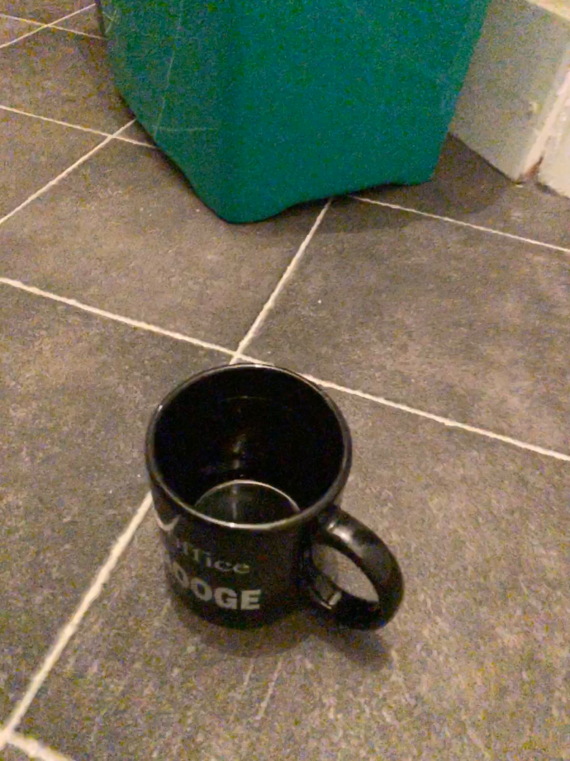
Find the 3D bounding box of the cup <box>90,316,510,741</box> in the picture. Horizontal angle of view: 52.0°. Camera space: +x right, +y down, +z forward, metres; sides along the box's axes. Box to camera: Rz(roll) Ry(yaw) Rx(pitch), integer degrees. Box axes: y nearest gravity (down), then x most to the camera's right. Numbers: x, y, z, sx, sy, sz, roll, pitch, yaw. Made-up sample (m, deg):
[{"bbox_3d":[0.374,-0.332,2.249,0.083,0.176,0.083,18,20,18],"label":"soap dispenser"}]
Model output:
[{"bbox_3d":[0.004,0.060,0.254,0.130,0.099,0.091,28,50,18],"label":"cup"}]
